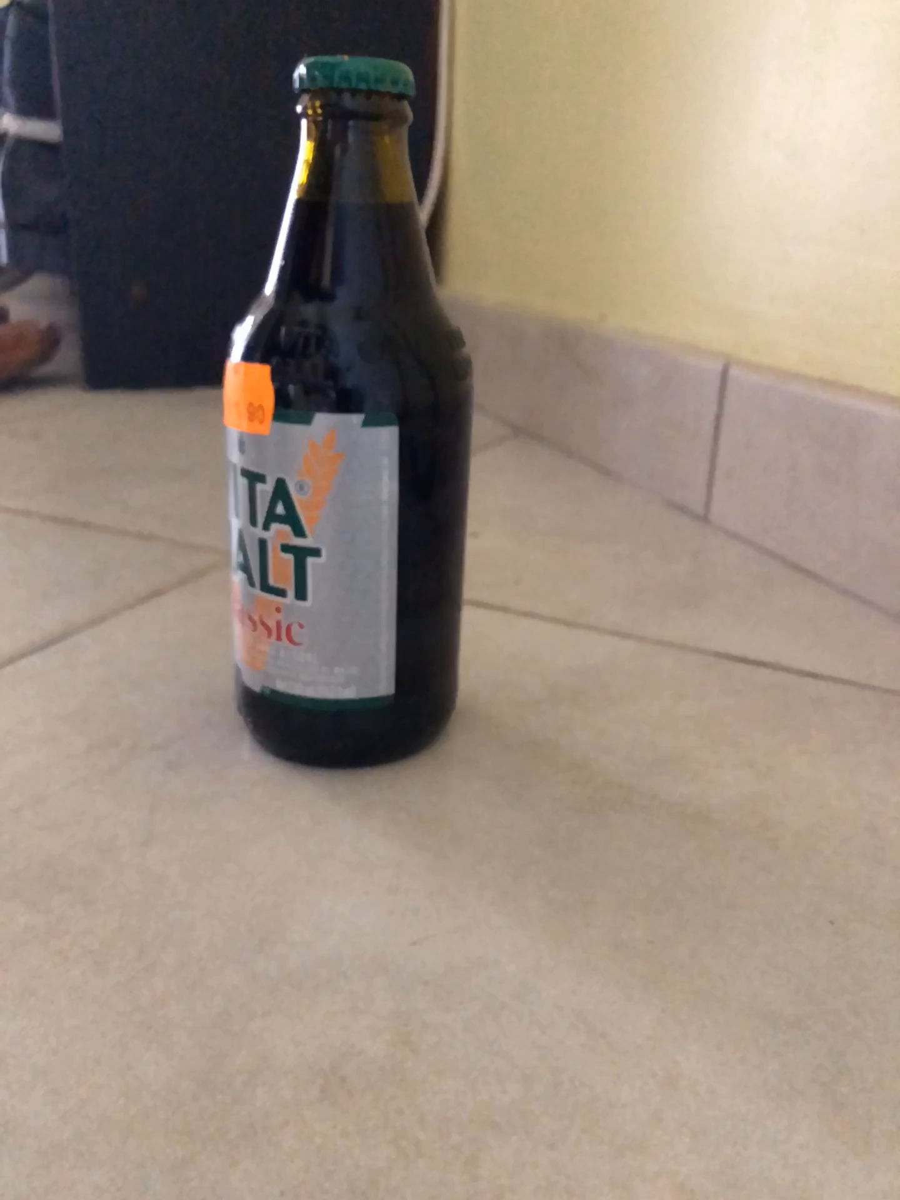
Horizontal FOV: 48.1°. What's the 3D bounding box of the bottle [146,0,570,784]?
[{"bbox_3d":[-0.025,-0.052,0.262,0.070,0.169,0.070,2,22,-1],"label":"bottle"}]
